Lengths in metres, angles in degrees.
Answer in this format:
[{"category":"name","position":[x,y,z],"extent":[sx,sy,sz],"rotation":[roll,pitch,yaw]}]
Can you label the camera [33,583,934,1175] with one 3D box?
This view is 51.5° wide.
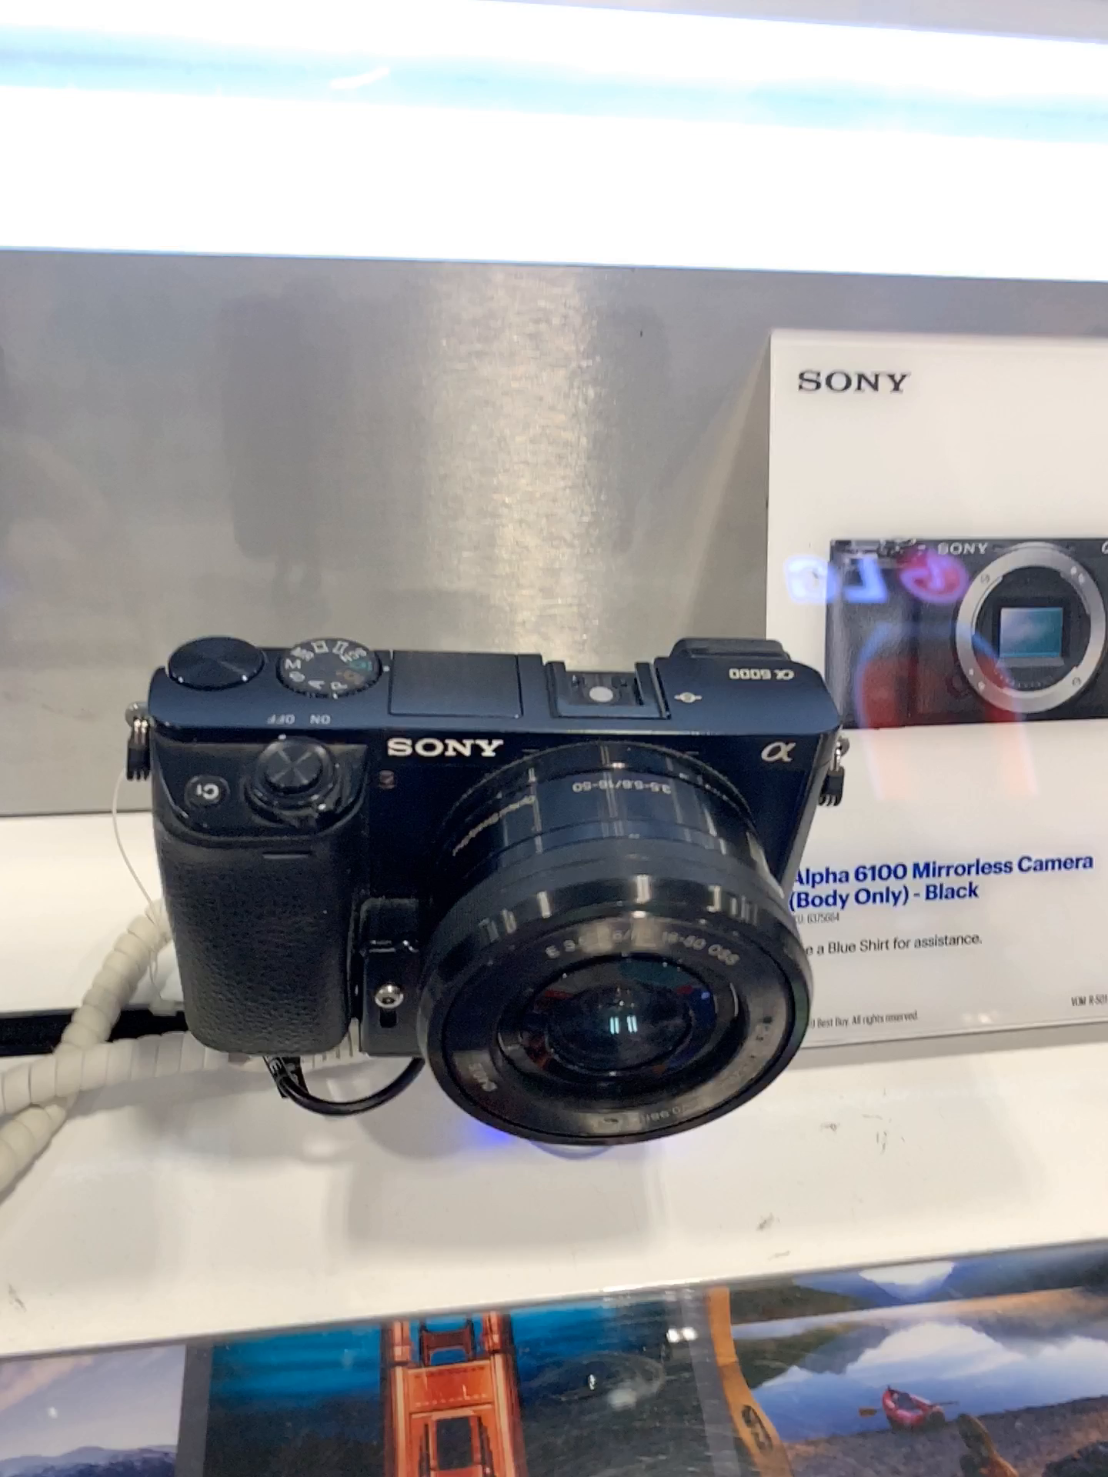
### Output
[{"category":"camera","position":[-0.012,0.022,0.201],"extent":[0.120,0.074,0.065],"rotation":[0,36,-7]}]
